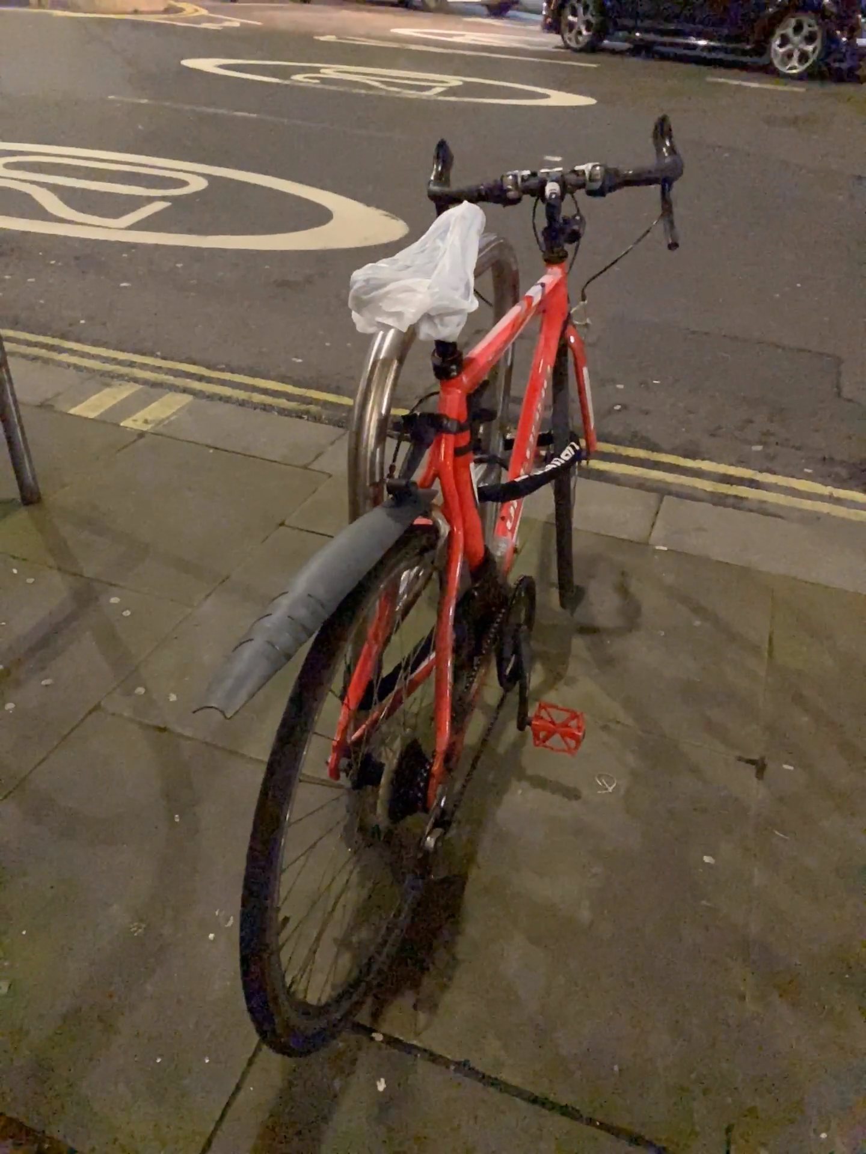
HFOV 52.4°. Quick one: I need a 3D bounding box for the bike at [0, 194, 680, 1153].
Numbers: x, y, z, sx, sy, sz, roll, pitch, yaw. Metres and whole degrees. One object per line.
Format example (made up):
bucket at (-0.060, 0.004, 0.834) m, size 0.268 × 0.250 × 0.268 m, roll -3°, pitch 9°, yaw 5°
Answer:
bike at (0.032, -0.079, 1.600) m, size 0.537 × 0.809 × 1.670 m, roll 12°, pitch 36°, yaw 14°
